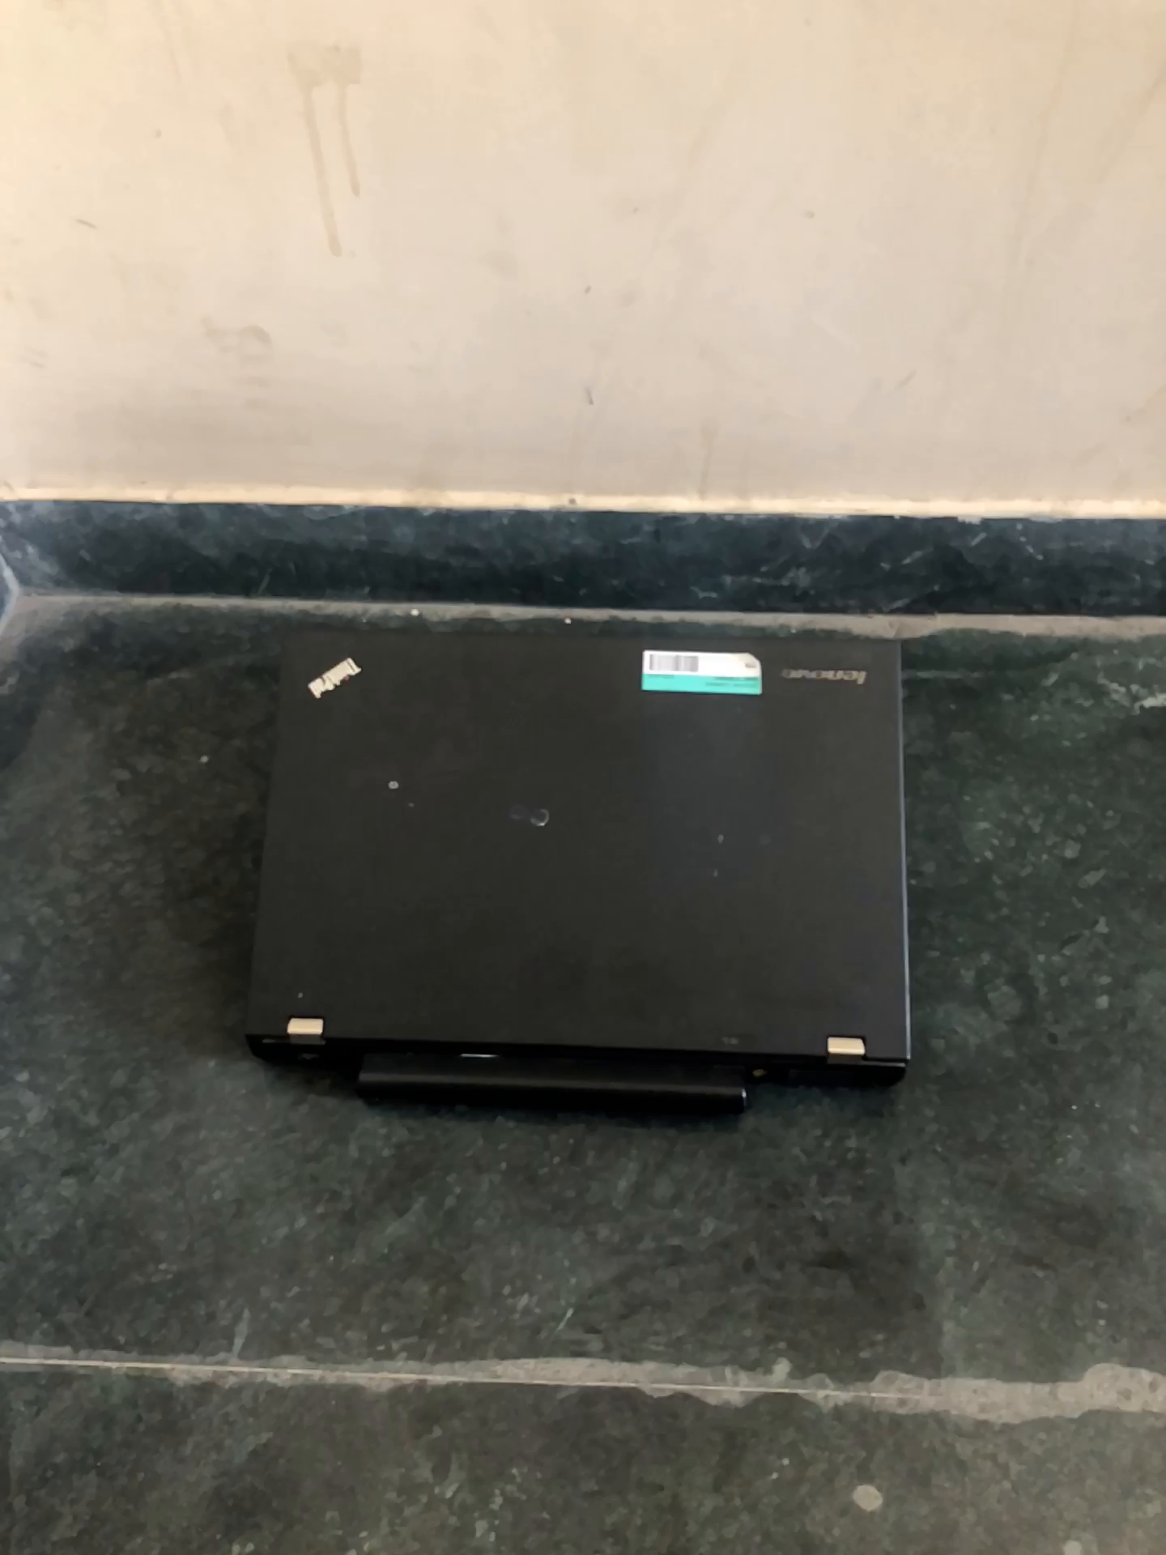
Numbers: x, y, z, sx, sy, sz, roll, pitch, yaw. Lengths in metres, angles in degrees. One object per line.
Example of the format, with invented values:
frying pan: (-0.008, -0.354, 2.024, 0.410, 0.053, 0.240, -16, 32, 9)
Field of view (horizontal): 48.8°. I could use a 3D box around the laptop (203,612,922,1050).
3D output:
laptop: (-0.003, 0.023, 0.734, 0.349, 0.094, 0.228, 3, 48, 2)
